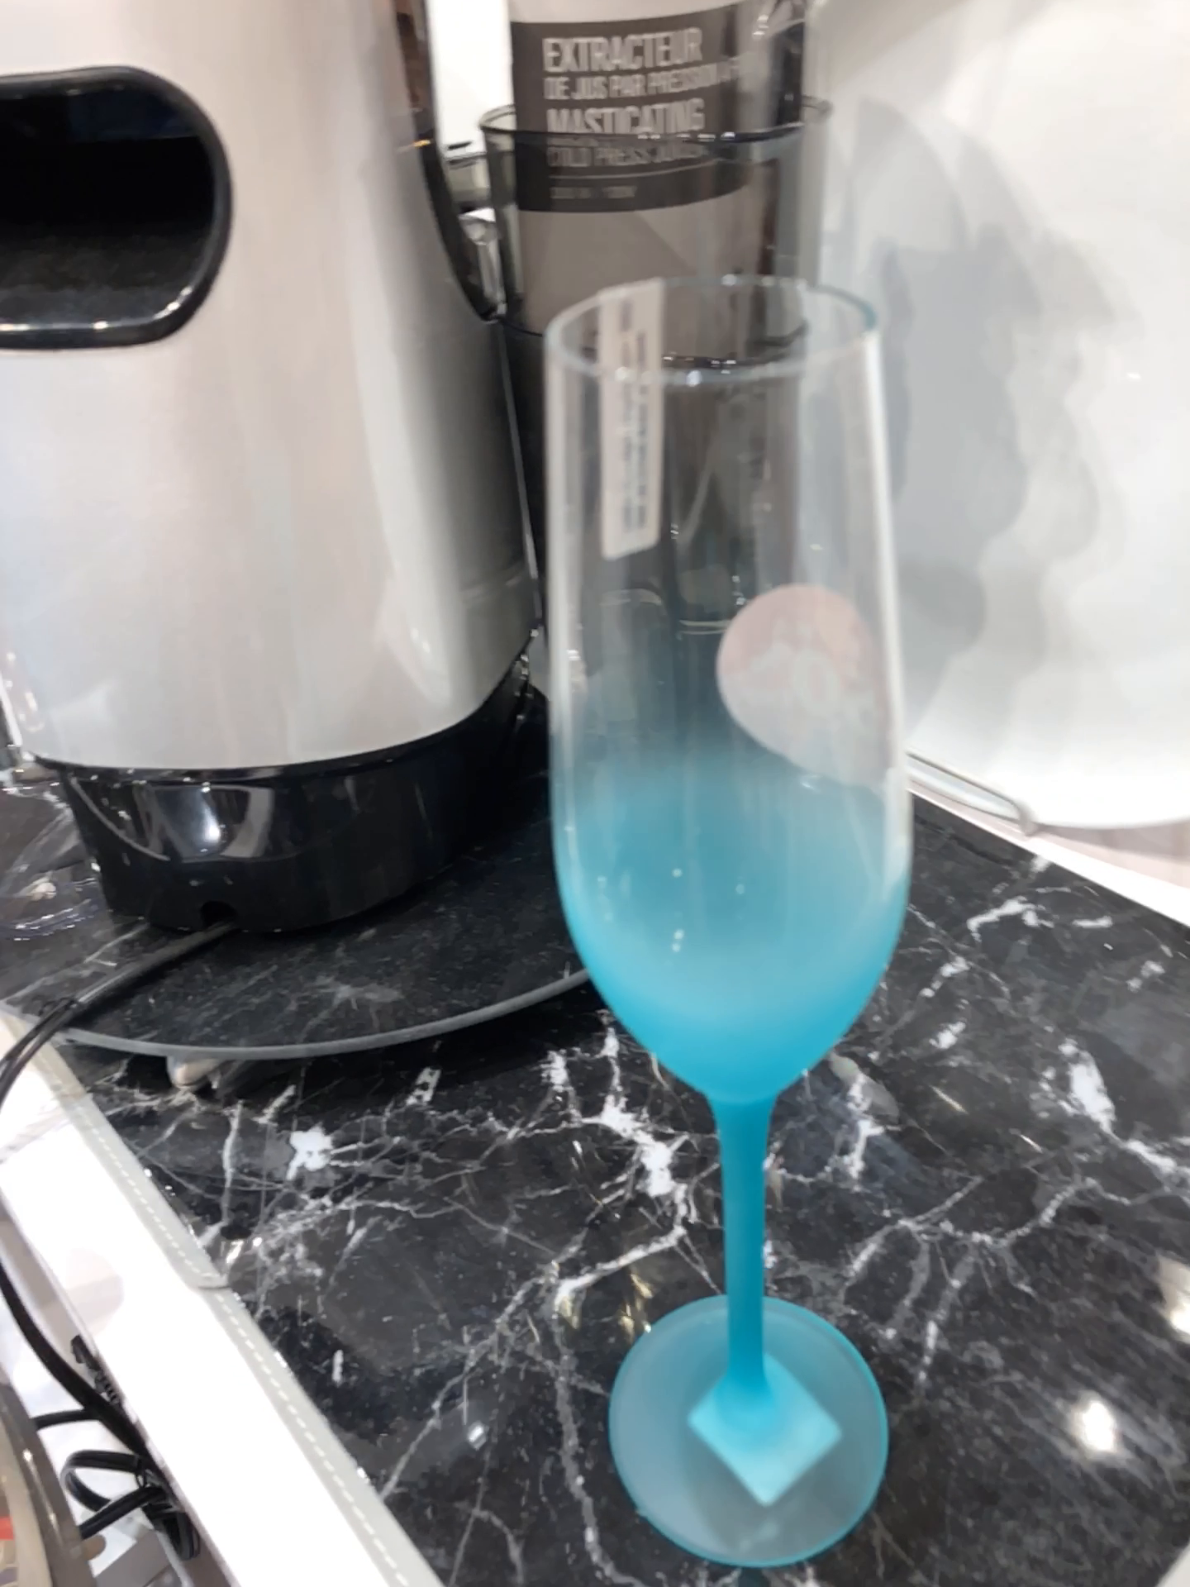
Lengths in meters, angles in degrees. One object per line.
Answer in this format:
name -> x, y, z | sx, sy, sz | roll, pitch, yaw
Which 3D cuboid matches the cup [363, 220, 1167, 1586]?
cup -> 0.023, 0.042, 0.222 | 0.070, 0.239, 0.070 | -3, 35, 2
